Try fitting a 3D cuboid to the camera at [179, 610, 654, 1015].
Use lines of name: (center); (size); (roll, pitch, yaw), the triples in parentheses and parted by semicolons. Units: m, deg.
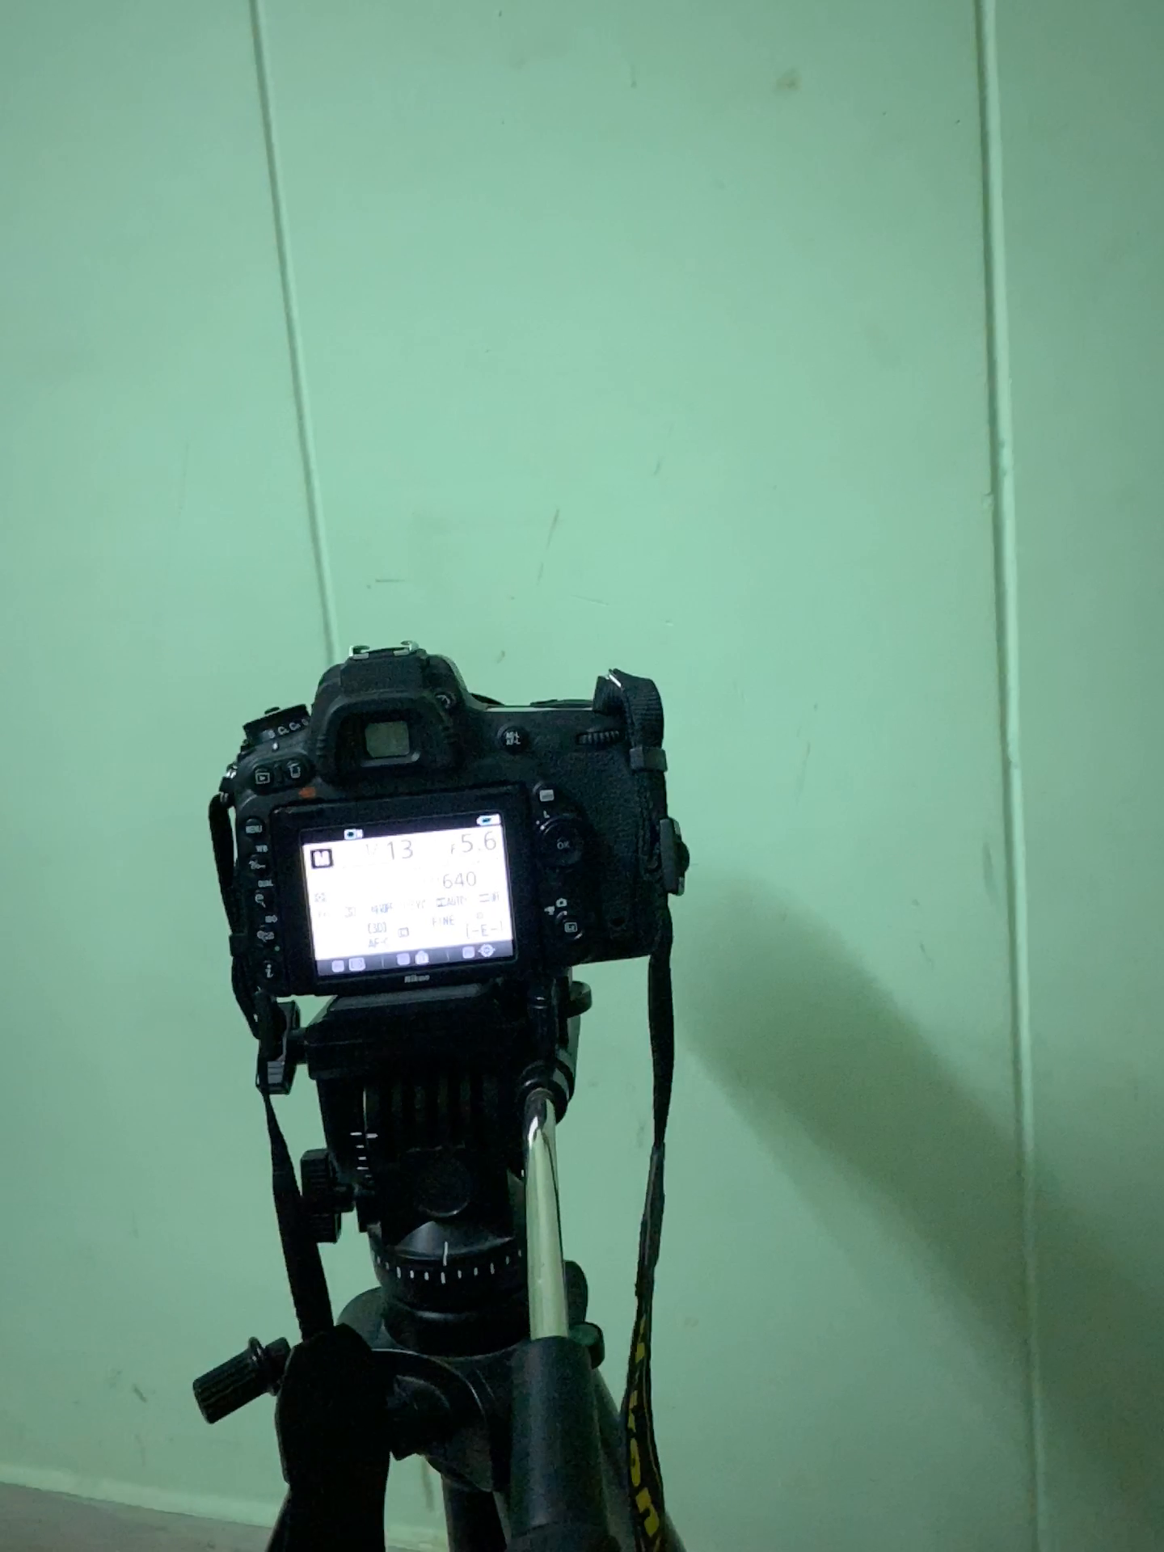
camera: (-0.055, 0.000, 0.476); (0.140, 0.117, 0.182); (-5, 8, -2)
